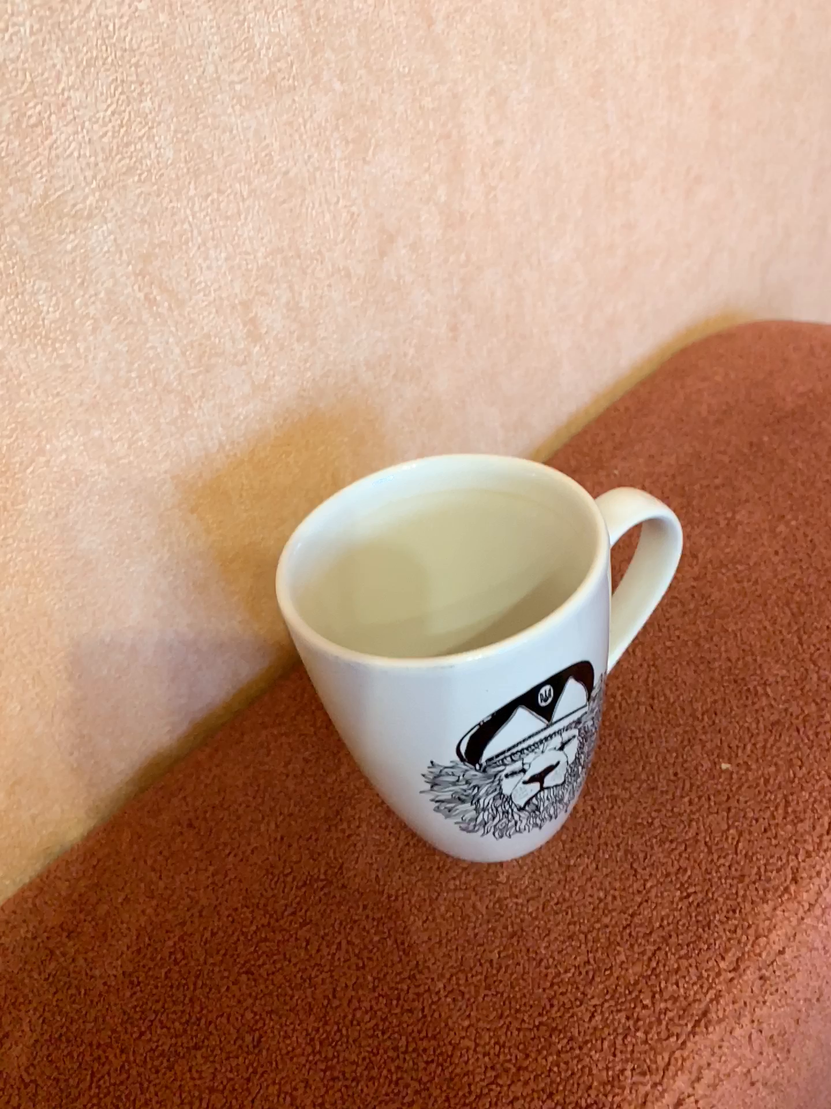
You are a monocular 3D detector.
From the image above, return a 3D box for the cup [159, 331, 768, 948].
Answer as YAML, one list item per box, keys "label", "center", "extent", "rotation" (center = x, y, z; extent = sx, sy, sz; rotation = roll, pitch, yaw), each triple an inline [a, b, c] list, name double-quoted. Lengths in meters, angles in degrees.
- label: "cup"
  center: [0.014, 0.017, 0.260]
  extent: [0.126, 0.095, 0.106]
  rotation: [-29, 43, -16]
